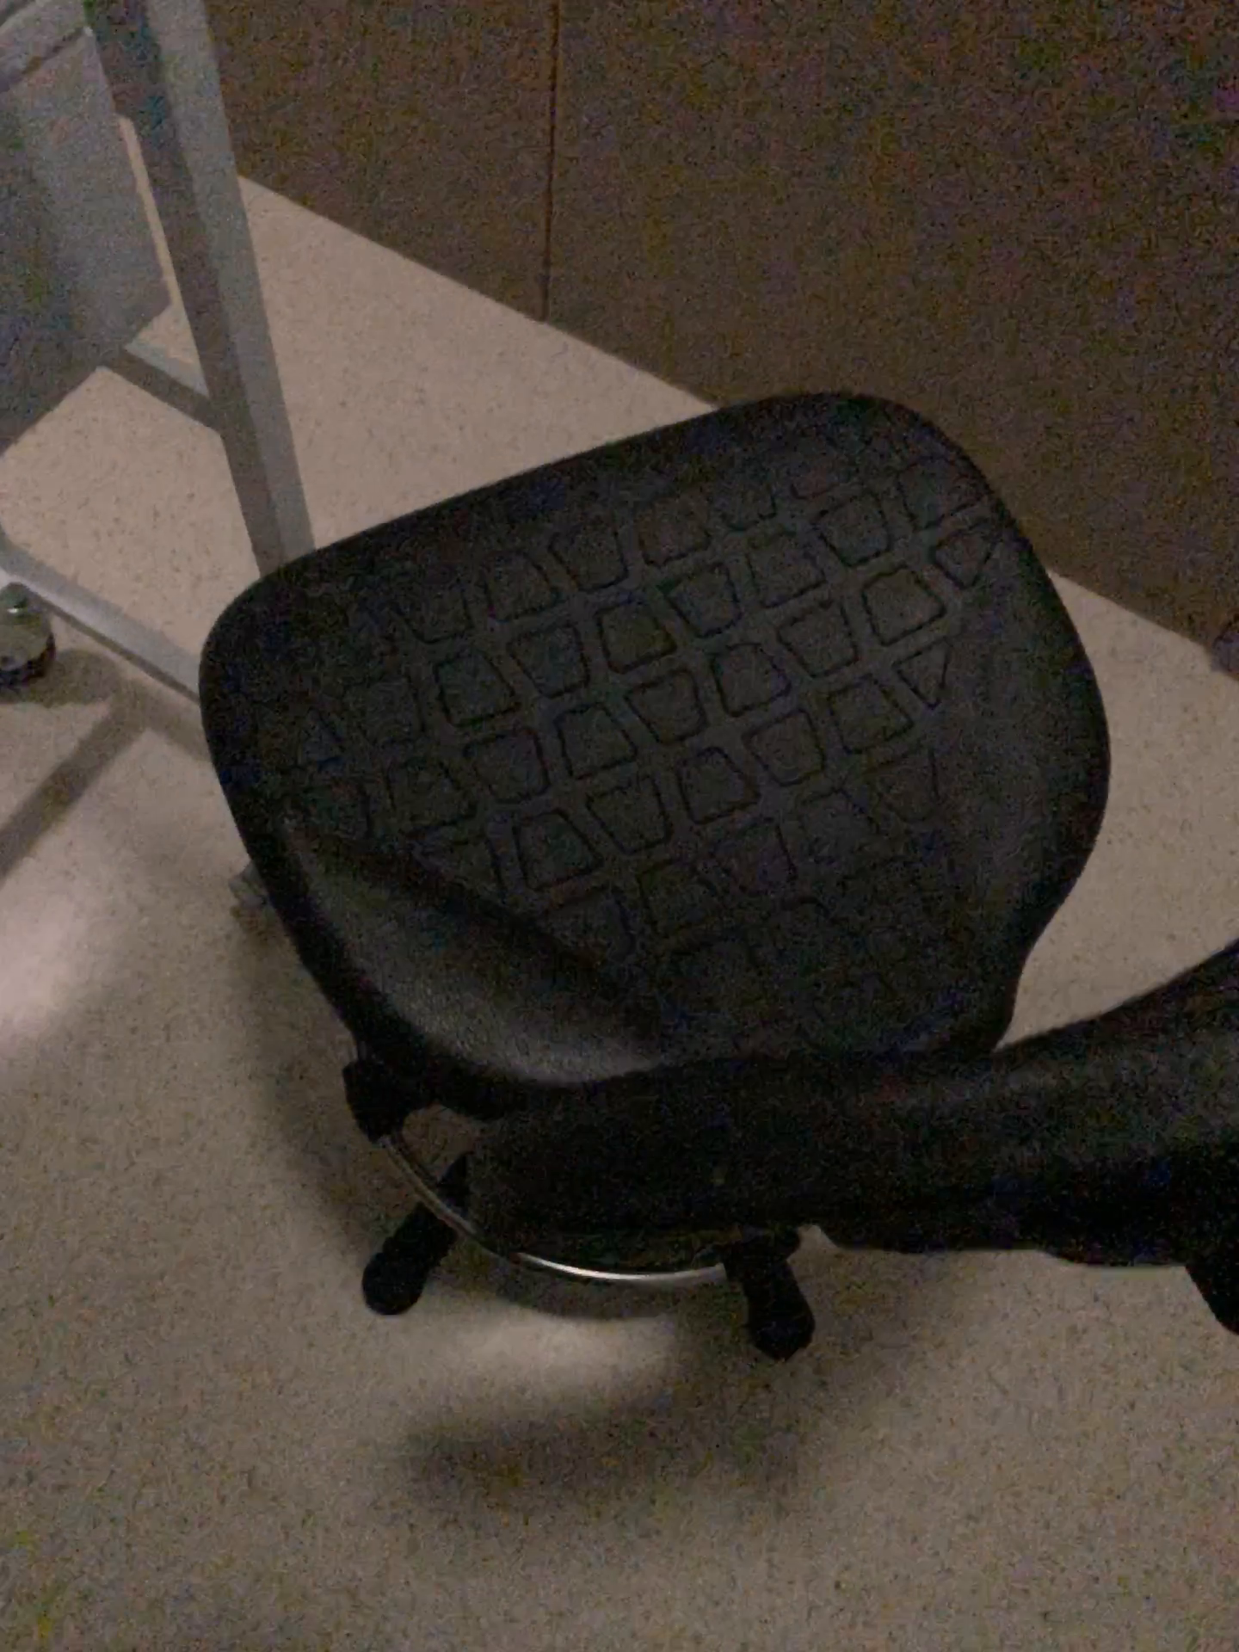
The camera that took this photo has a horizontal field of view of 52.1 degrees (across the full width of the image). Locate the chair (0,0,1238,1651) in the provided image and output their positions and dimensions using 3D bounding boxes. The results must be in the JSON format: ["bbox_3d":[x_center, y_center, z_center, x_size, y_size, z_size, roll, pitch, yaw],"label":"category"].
[{"bbox_3d":[0.074,-0.038,0.694,0.621,0.935,0.672,-21,69,-14],"label":"chair"}]
